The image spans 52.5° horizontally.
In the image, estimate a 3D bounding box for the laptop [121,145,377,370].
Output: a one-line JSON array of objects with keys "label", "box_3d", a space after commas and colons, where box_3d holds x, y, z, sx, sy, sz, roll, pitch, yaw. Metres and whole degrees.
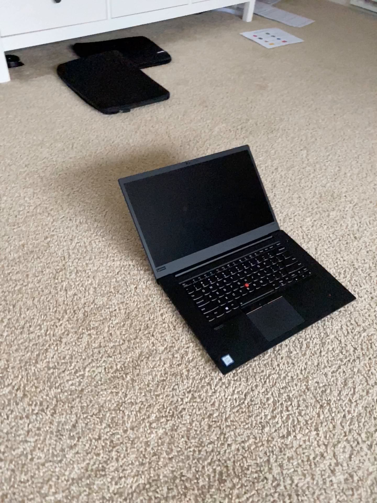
[{"label": "laptop", "box_3d": [0.112, -0.029, 0.850, 0.360, 0.141, 0.434, -21, 52, -25]}]
